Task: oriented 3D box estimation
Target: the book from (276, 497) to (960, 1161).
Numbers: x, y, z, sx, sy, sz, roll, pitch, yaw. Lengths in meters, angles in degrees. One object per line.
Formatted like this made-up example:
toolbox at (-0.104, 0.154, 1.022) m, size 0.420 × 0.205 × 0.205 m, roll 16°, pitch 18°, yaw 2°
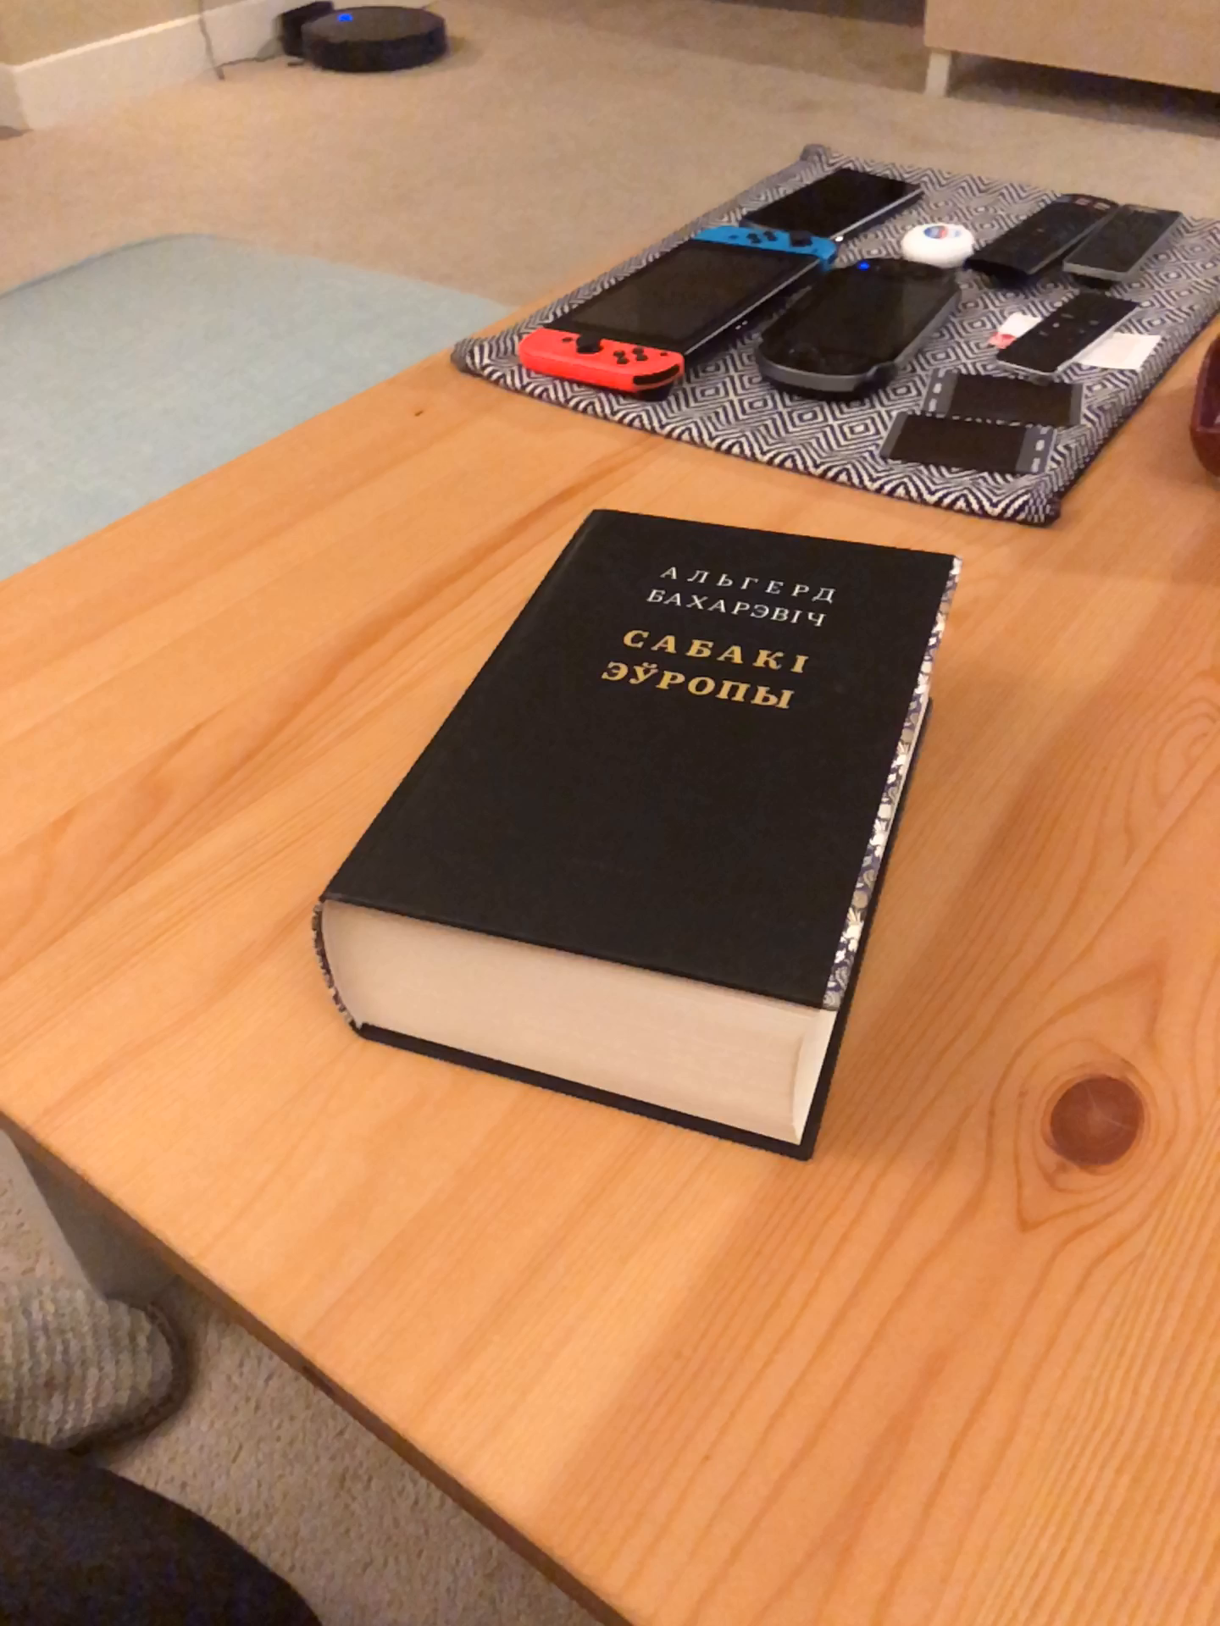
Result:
book at (0.019, -0.014, 0.457) m, size 0.157 × 0.061 × 0.230 m, roll 11°, pitch 45°, yaw 16°
